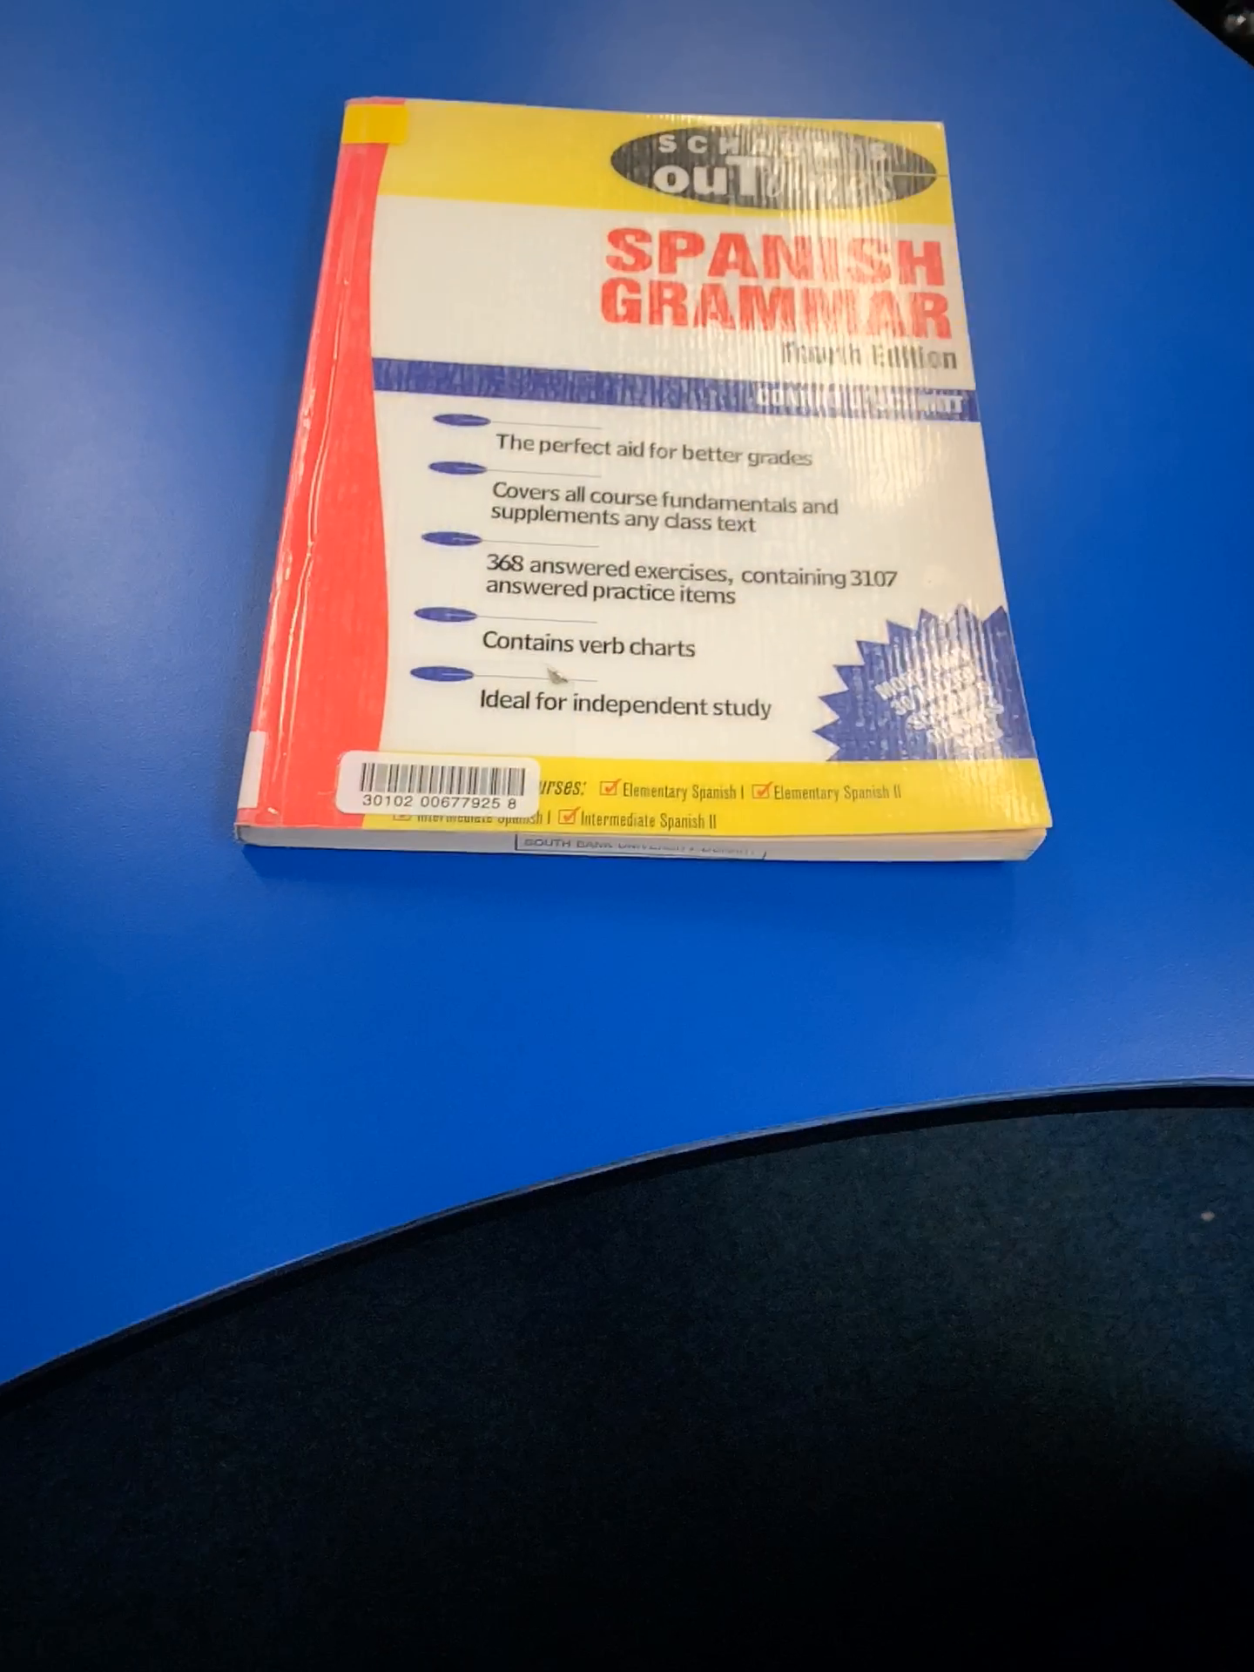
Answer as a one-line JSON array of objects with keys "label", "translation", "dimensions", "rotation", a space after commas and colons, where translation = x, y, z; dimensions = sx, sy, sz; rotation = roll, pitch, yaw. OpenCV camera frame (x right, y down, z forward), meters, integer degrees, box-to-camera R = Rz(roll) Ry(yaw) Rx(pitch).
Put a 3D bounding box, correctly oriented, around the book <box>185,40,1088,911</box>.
[{"label": "book", "translation": [0.003, -0.118, 0.378], "dimensions": [0.210, 0.040, 0.281], "rotation": [1, 64, -3]}]
